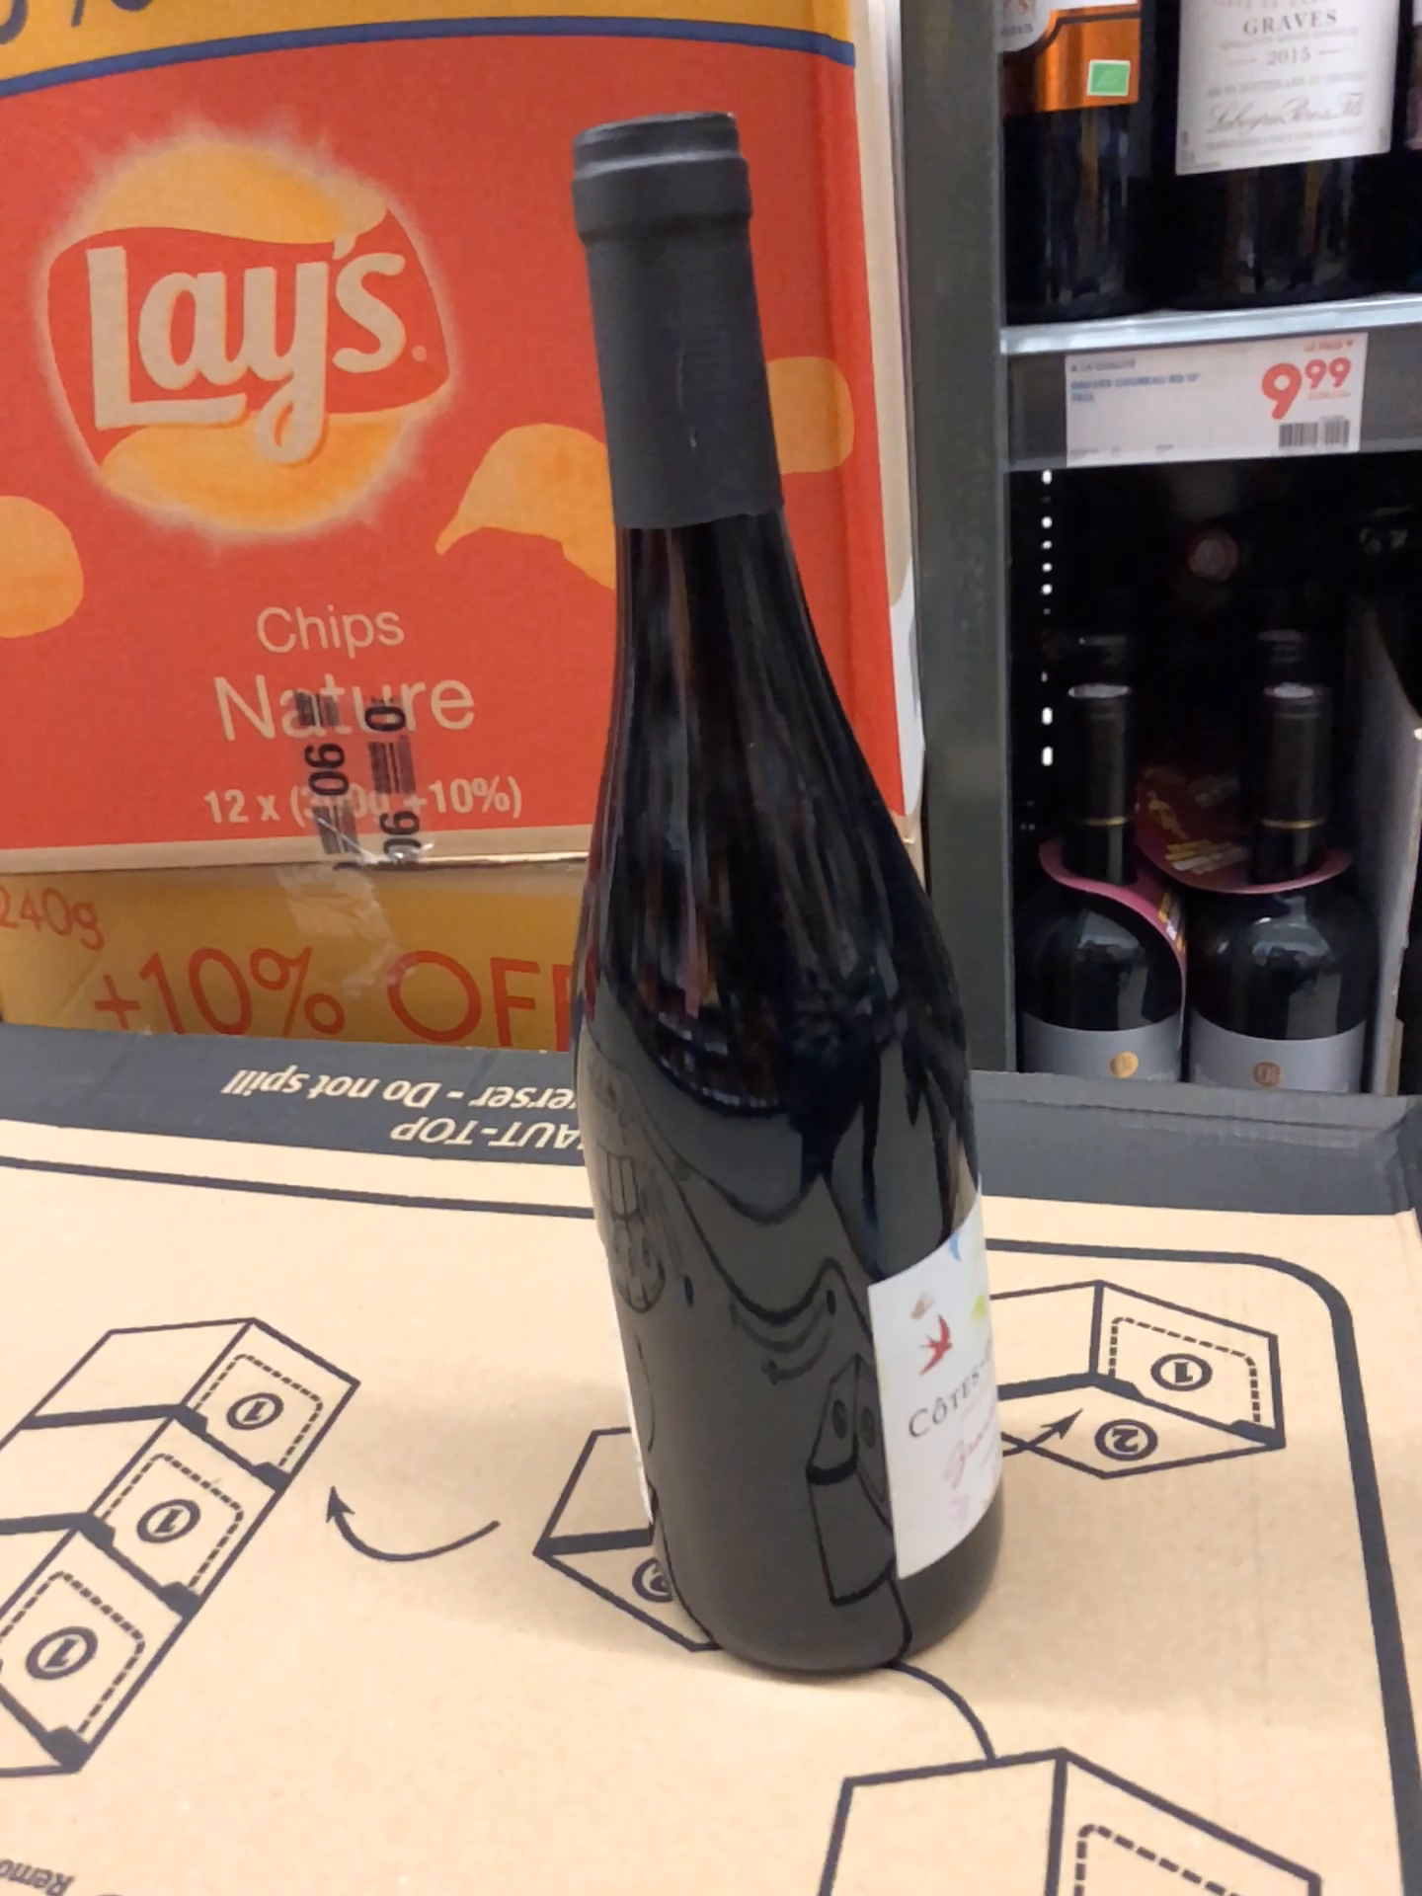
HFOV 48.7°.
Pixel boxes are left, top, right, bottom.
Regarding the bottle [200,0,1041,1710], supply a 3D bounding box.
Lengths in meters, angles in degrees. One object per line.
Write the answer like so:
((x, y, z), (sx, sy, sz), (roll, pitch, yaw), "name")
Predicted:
((0.007, -0.005, 0.296), (0.090, 0.289, 0.101), (-4, 24, 13), "bottle")
